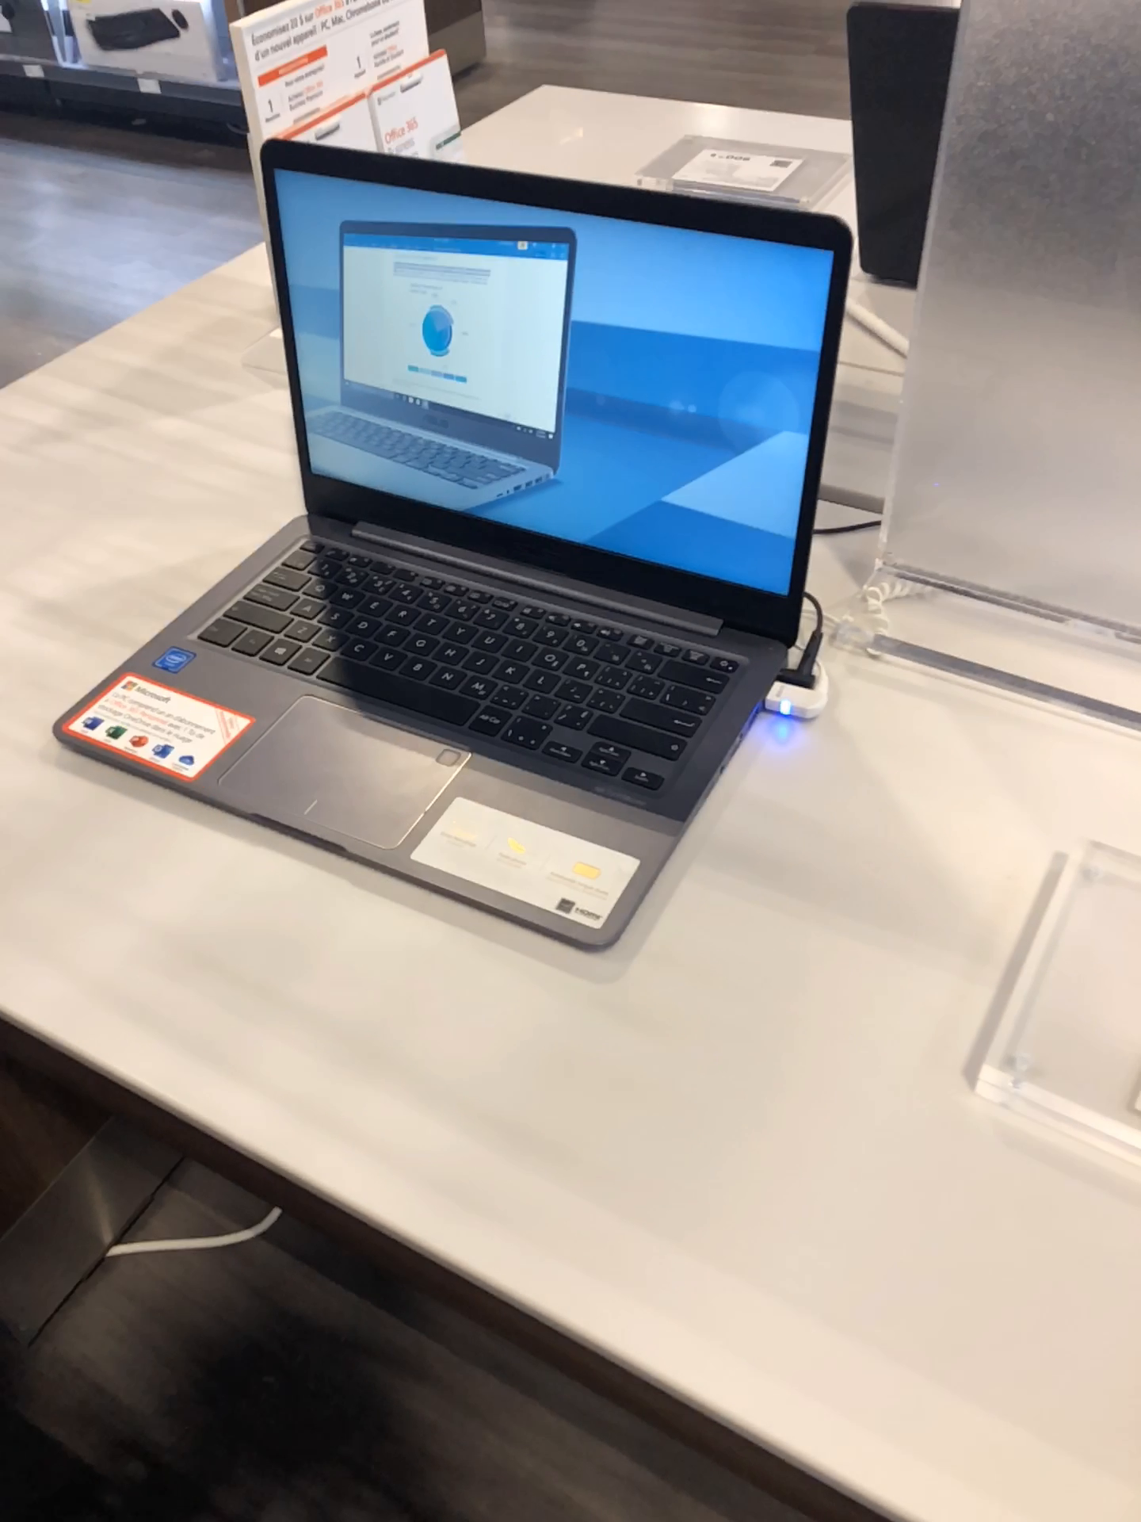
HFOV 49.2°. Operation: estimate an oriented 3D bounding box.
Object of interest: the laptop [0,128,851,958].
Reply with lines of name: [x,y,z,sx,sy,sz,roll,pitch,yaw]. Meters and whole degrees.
laptop: [-0.070,-0.137,0.629,0.333,0.180,0.301,17,52,20]
